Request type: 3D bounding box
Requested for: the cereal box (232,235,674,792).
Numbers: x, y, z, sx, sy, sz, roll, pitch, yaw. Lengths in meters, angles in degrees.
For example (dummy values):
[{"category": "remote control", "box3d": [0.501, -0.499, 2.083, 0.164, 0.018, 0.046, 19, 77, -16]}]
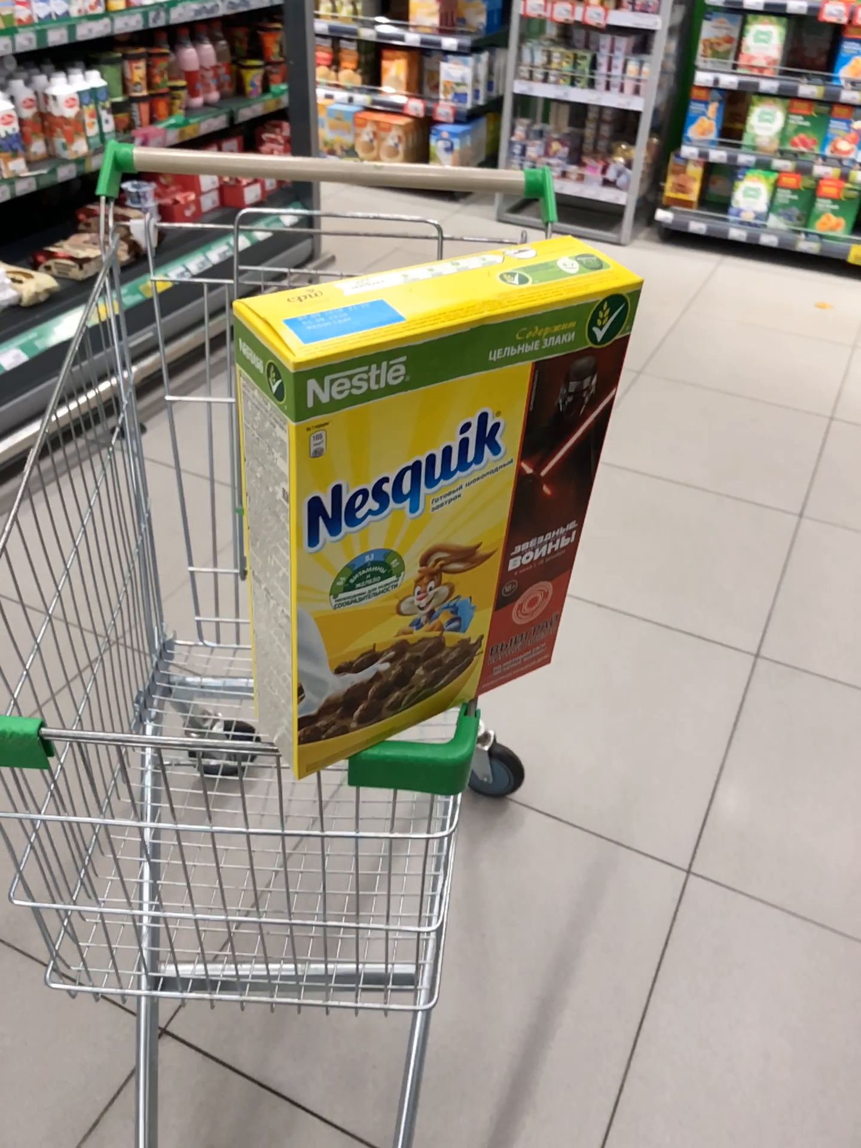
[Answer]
[{"category": "cereal box", "box3d": [0.005, -0.028, 0.523, 0.200, 0.268, 0.070, -20, 47, -28]}]
